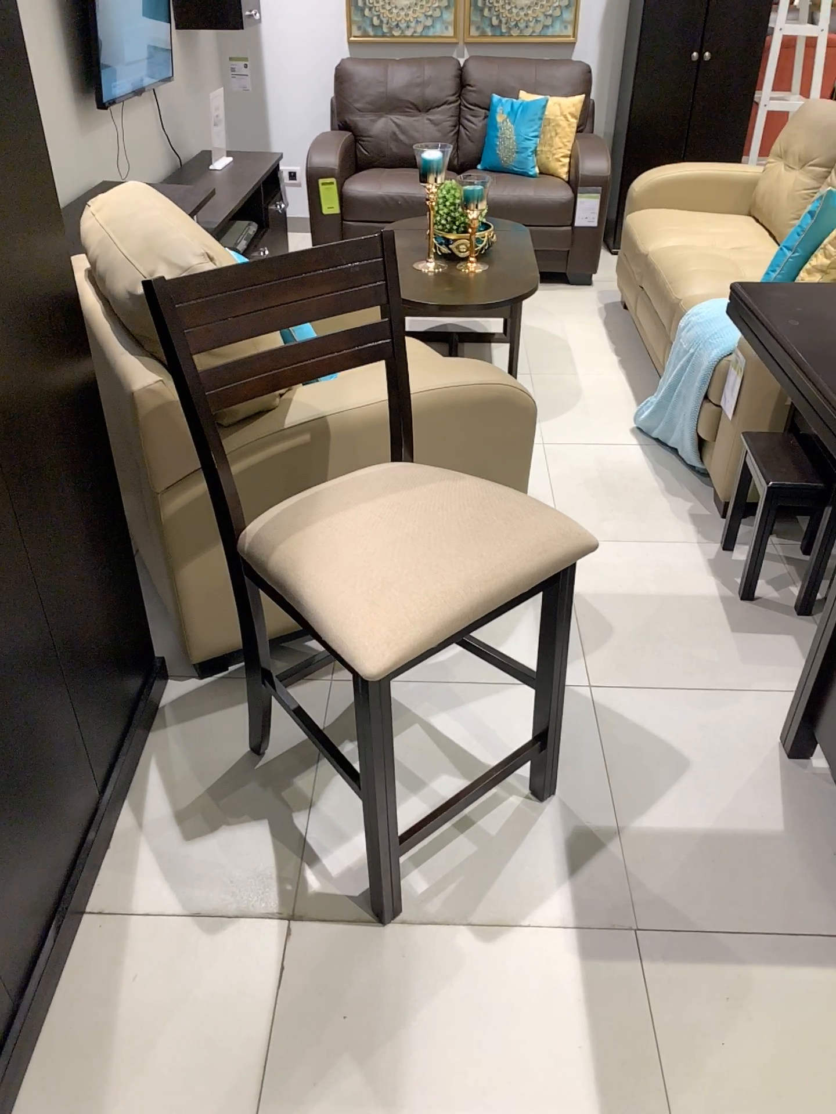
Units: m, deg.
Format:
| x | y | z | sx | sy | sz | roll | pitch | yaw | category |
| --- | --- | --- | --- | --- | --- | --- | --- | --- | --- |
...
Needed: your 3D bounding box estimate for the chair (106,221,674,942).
| x | y | z | sx | sy | sz | roll | pitch | yaw | category |
| --- | --- | --- | --- | --- | --- | --- | --- | --- | --- |
| -0.052 | 0.012 | 1.423 | 0.521 | 0.916 | 0.592 | -27 | 43 | -34 | chair |
